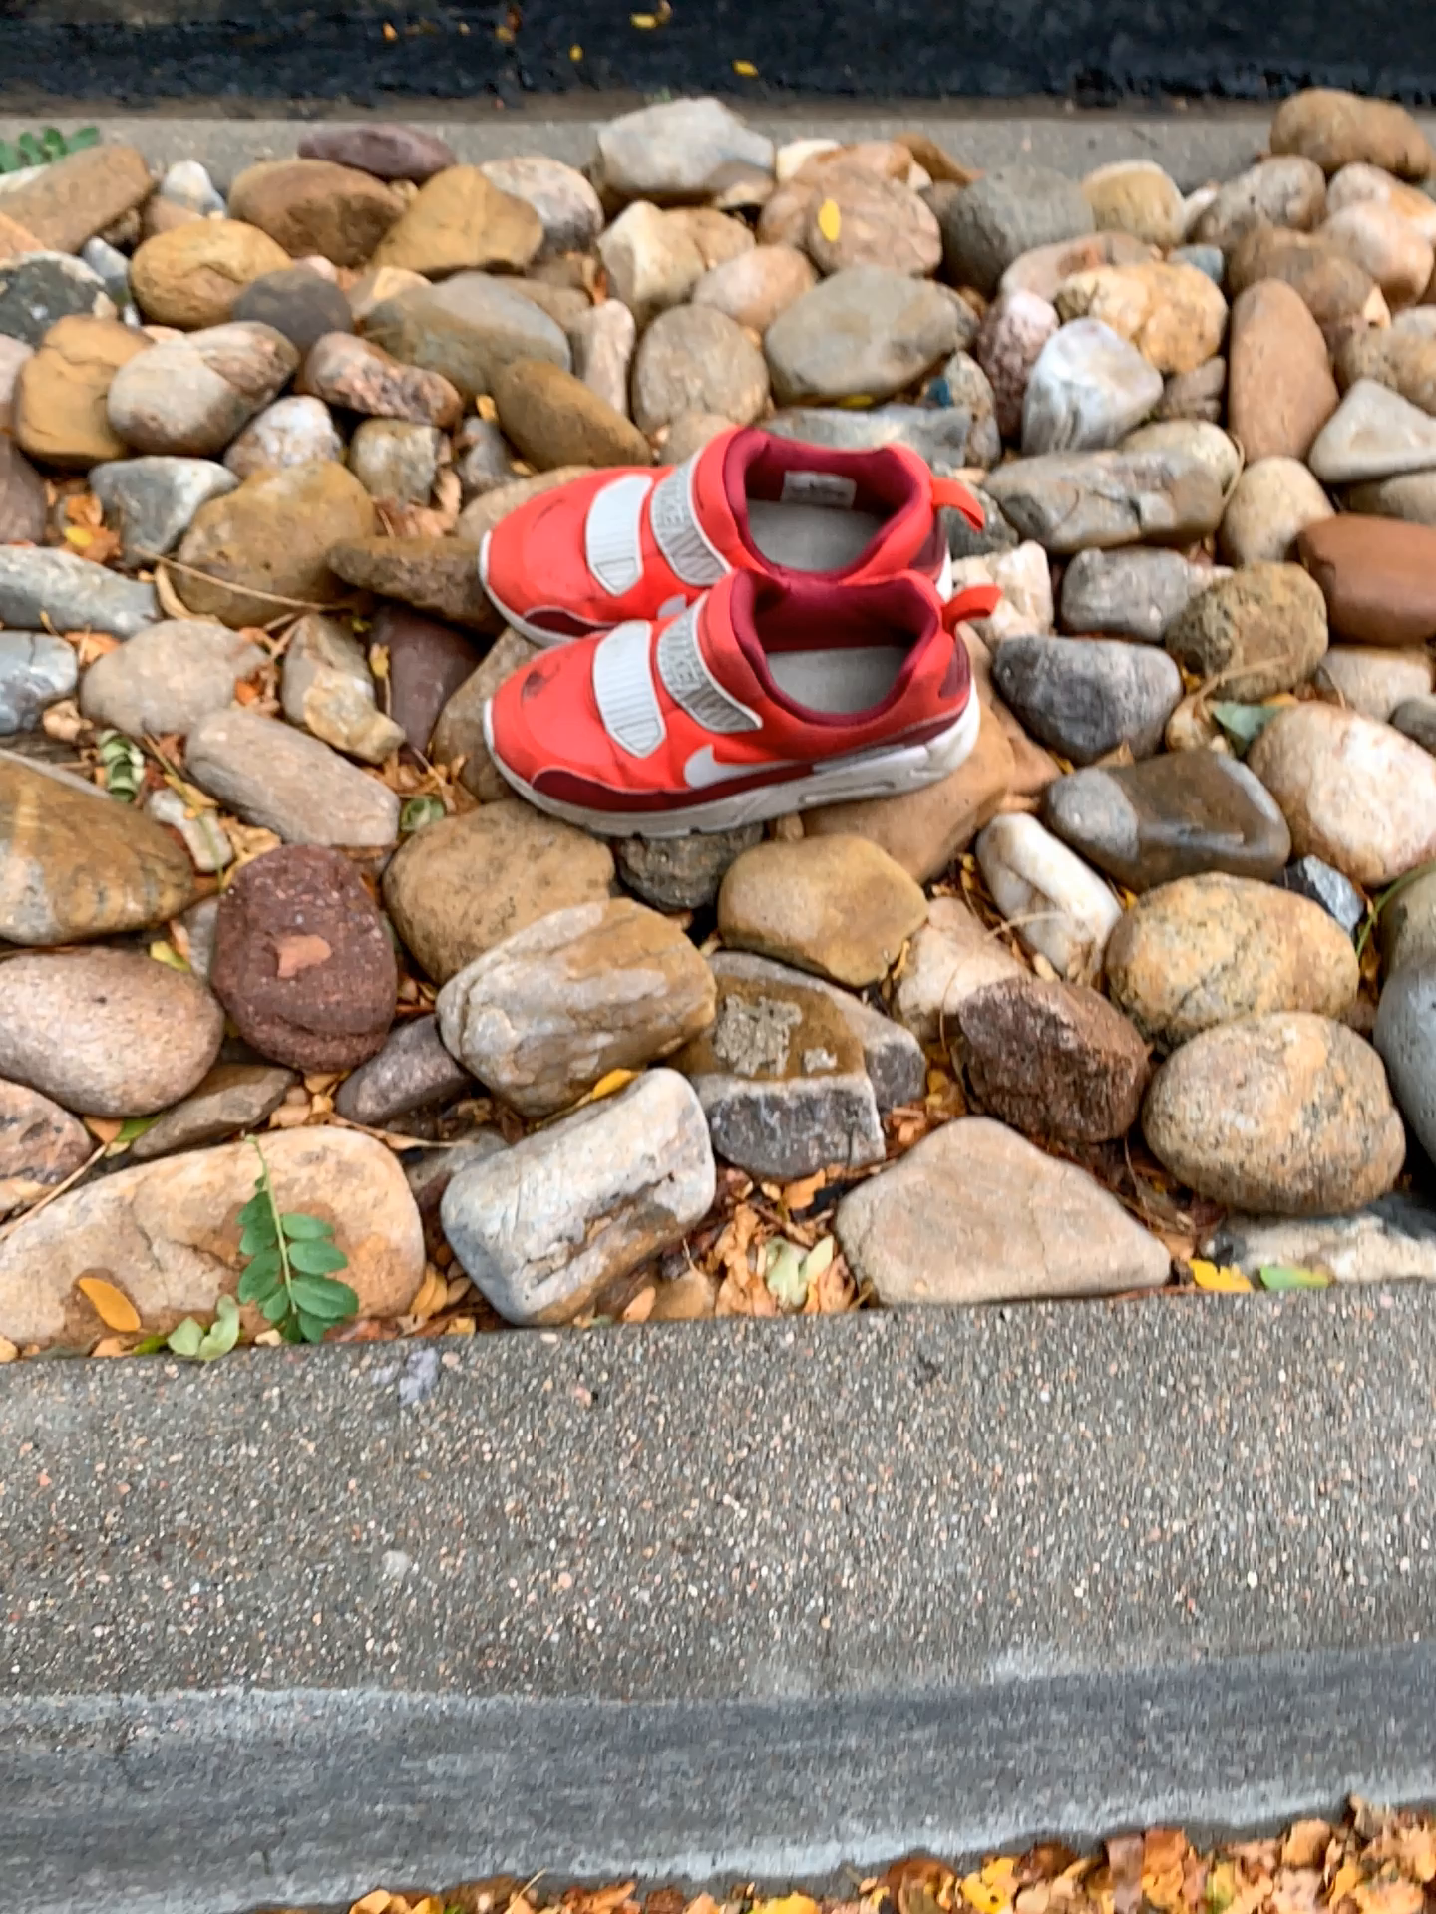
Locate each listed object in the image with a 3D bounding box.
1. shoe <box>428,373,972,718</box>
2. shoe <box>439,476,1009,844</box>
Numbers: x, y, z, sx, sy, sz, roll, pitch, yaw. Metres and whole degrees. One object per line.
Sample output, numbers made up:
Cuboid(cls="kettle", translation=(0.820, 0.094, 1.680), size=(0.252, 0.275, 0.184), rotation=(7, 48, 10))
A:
Cuboid(cls="shoe", translation=(-0.001, -0.169, 0.626), size=(0.210, 0.100, 0.080), rotation=(-2, 66, 10))
Cuboid(cls="shoe", translation=(0.007, -0.116, 0.612), size=(0.210, 0.100, 0.080), rotation=(-5, 66, 16))
